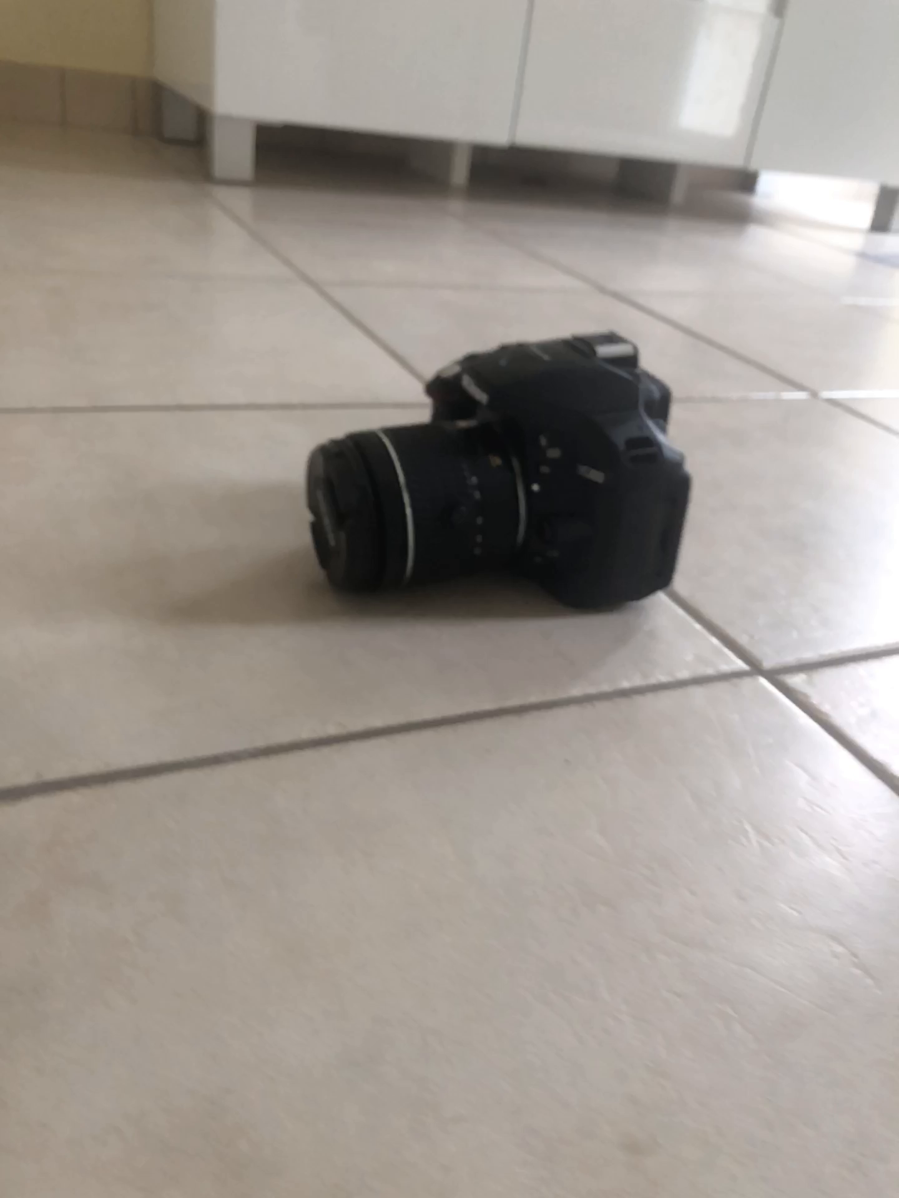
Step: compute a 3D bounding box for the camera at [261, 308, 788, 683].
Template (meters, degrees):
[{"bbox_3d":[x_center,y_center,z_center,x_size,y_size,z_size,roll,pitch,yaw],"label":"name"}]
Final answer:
[{"bbox_3d":[0.019,-0.054,0.412,0.160,0.089,0.140,-7,32,-22],"label":"camera"}]
